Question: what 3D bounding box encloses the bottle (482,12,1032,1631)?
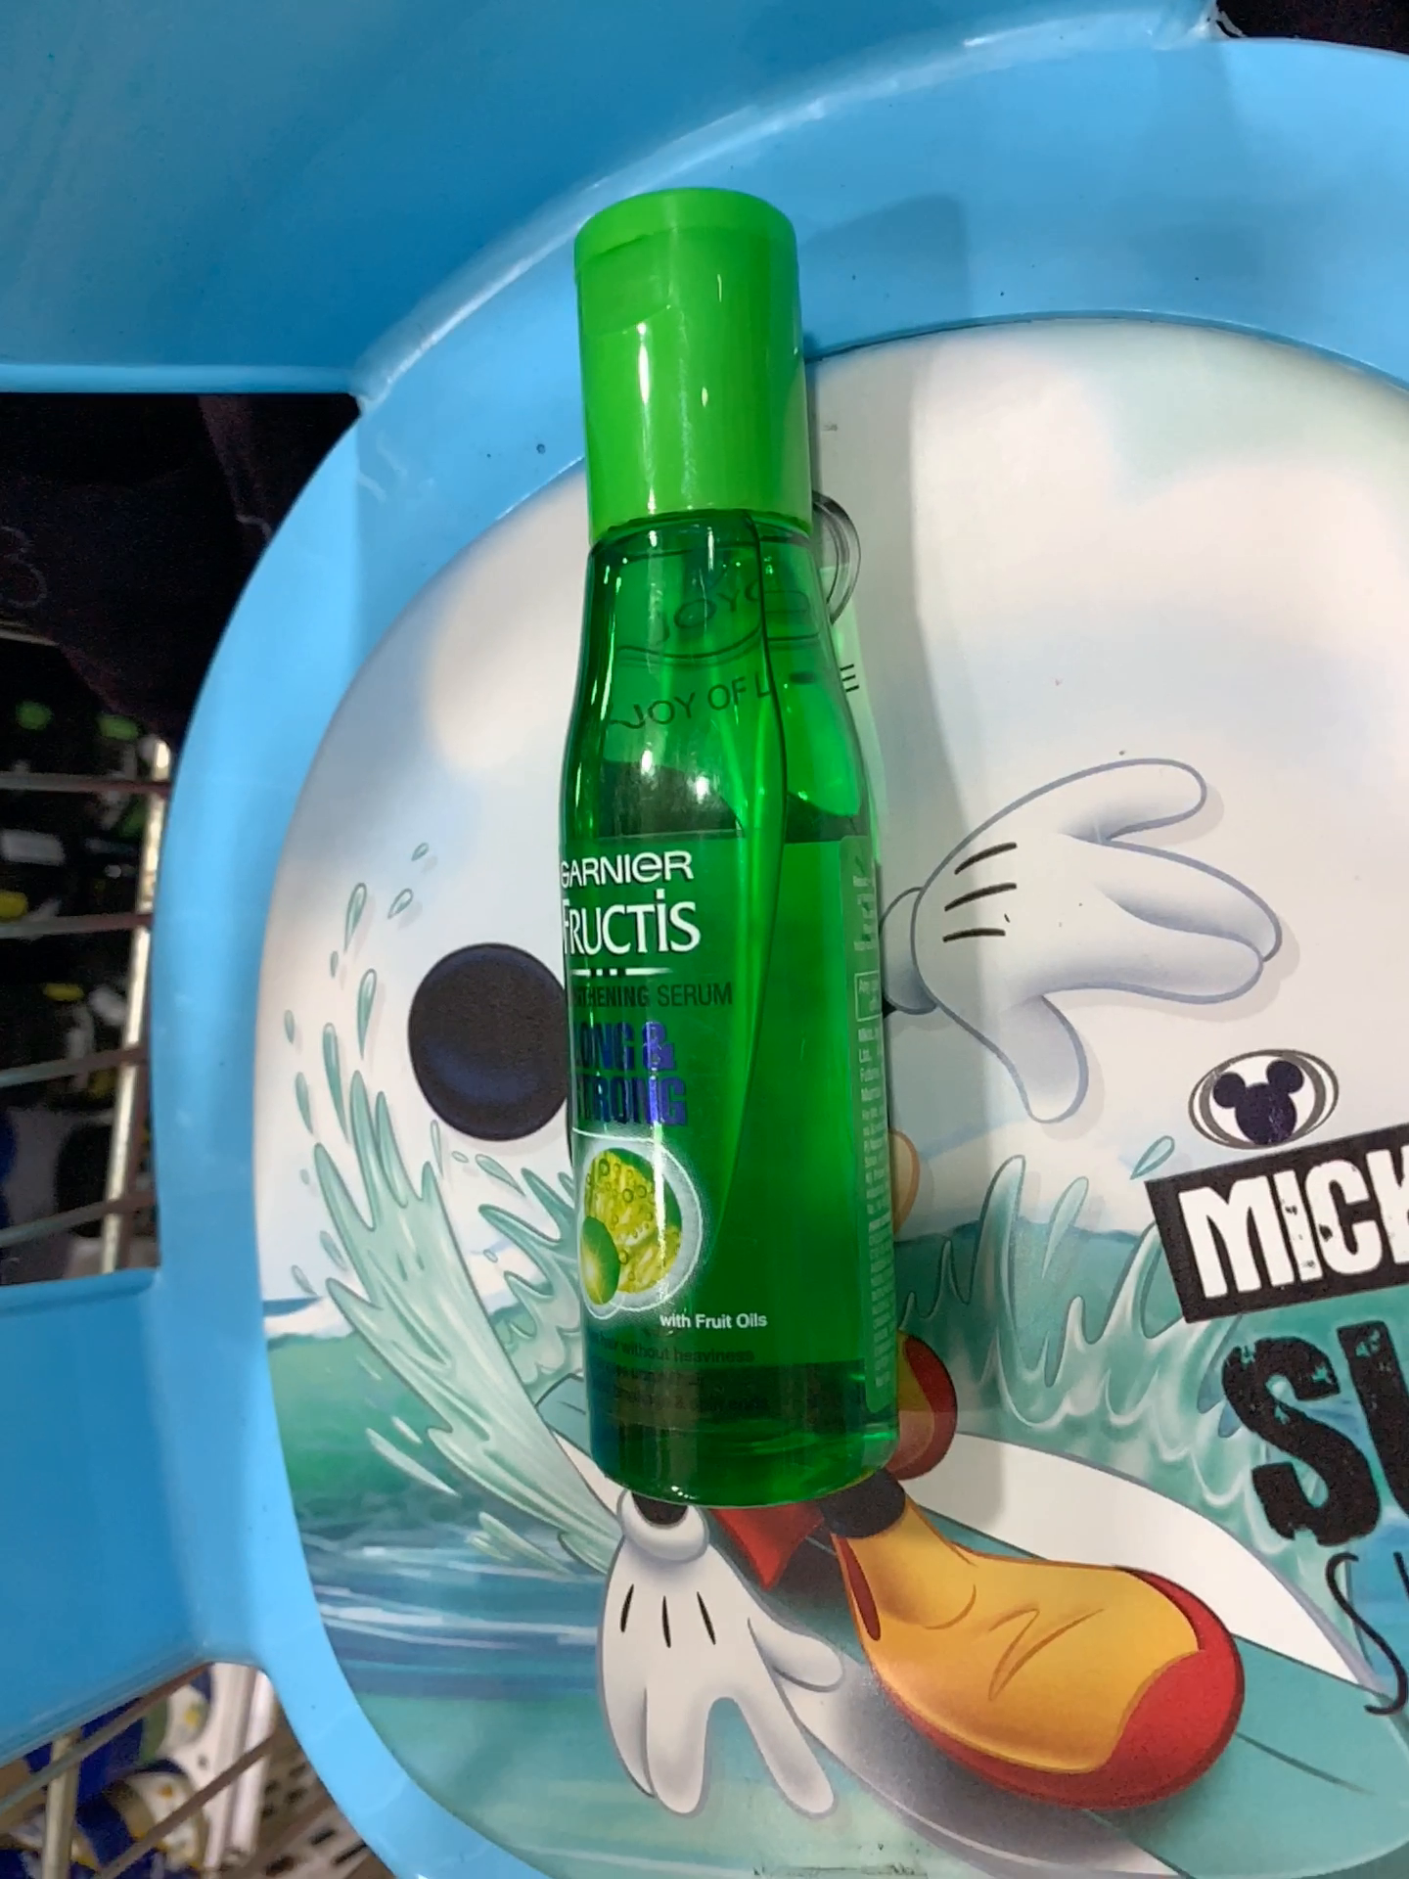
[{"bbox_3d":[0.005,-0.012,0.173,0.040,0.040,0.160,-5,88,53],"label":"bottle"}]
